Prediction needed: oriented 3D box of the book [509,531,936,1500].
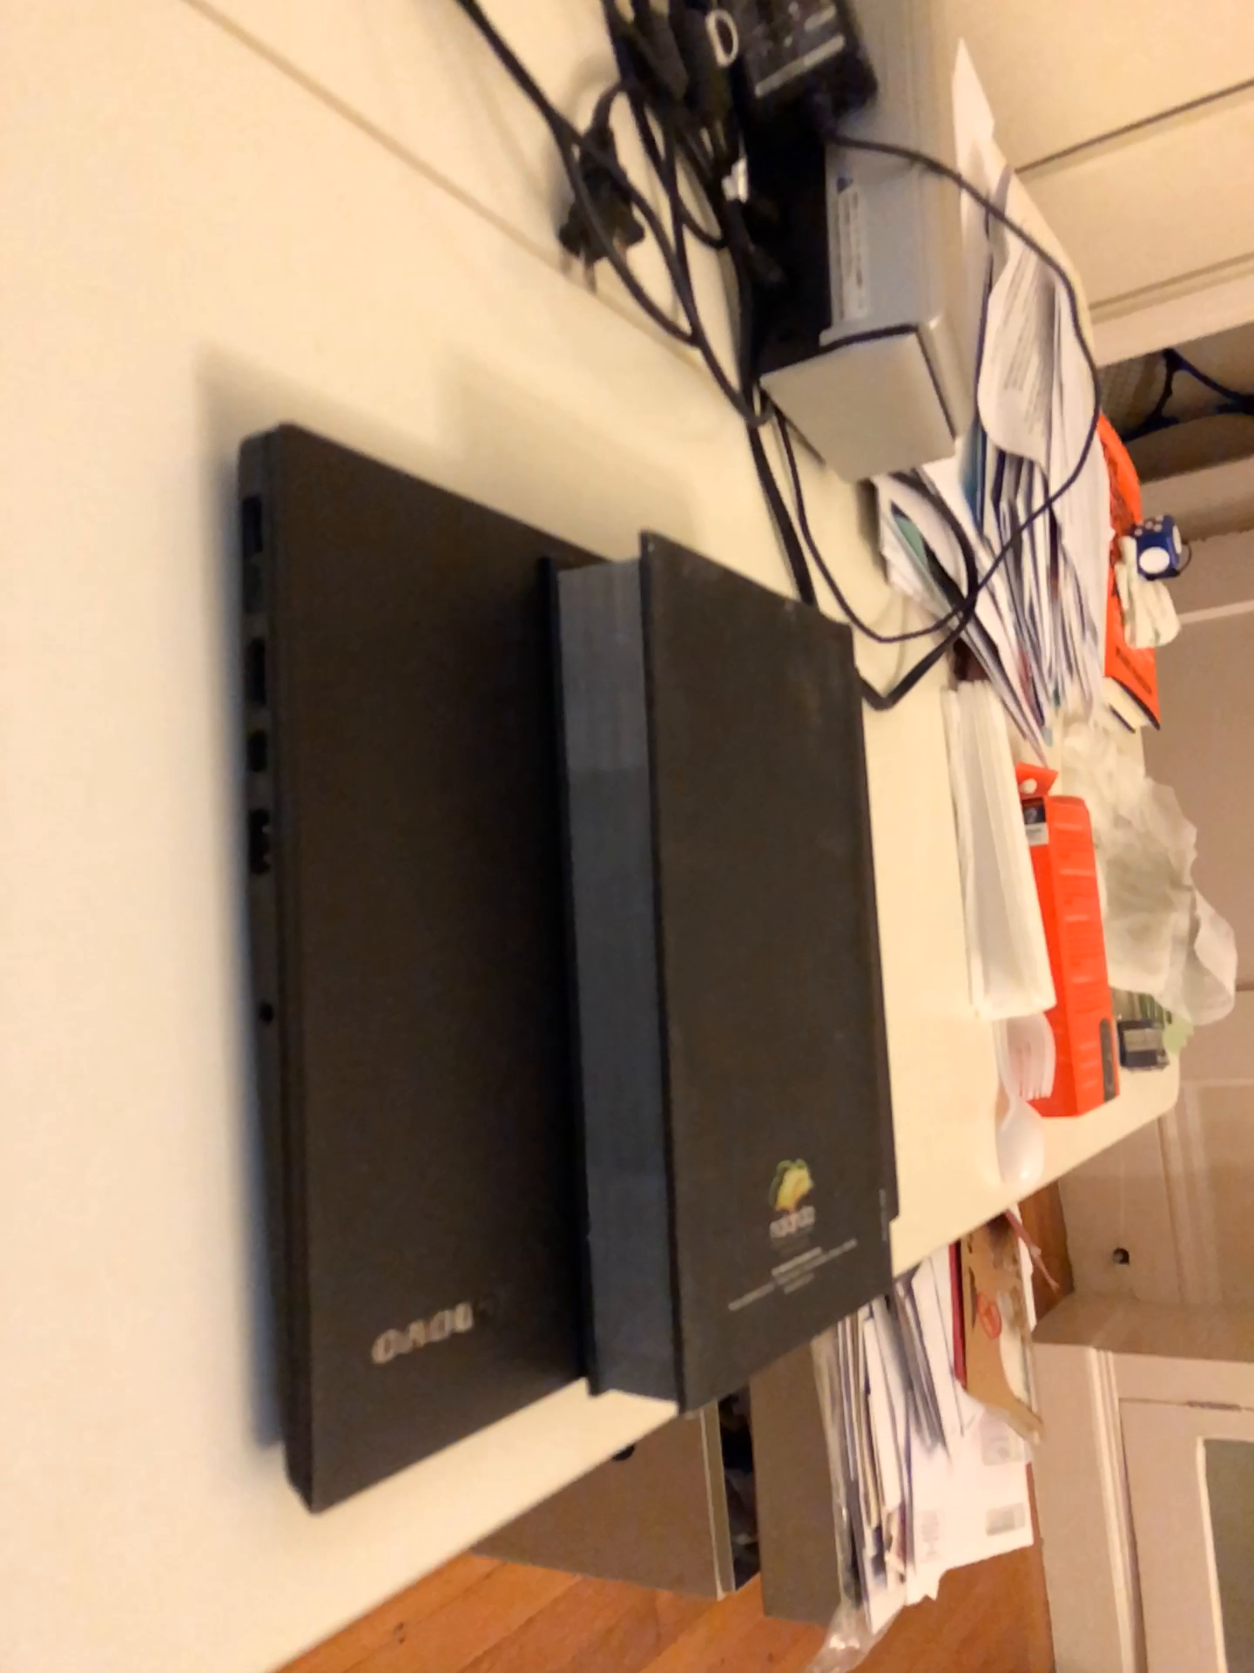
[{"bbox_3d":[0.034,0.044,0.401,0.151,0.040,0.230,6,78,-58],"label":"book"}]
